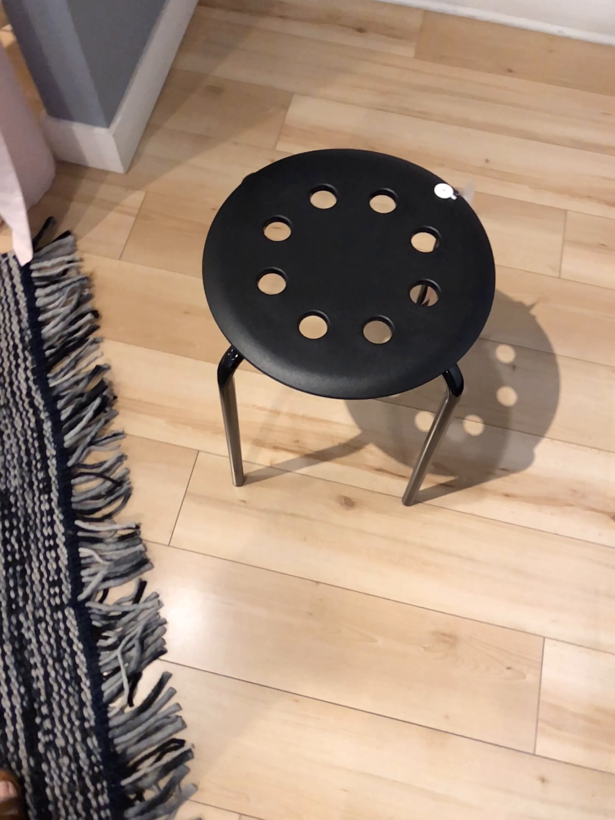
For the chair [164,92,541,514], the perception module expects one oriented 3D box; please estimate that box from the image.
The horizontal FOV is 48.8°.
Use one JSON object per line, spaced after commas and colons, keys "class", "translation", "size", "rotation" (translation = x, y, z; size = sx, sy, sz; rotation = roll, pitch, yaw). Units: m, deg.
{"class": "chair", "translation": [0.057, -0.111, 0.921], "size": [0.370, 0.400, 0.380], "rotation": [6, 68, 1]}
